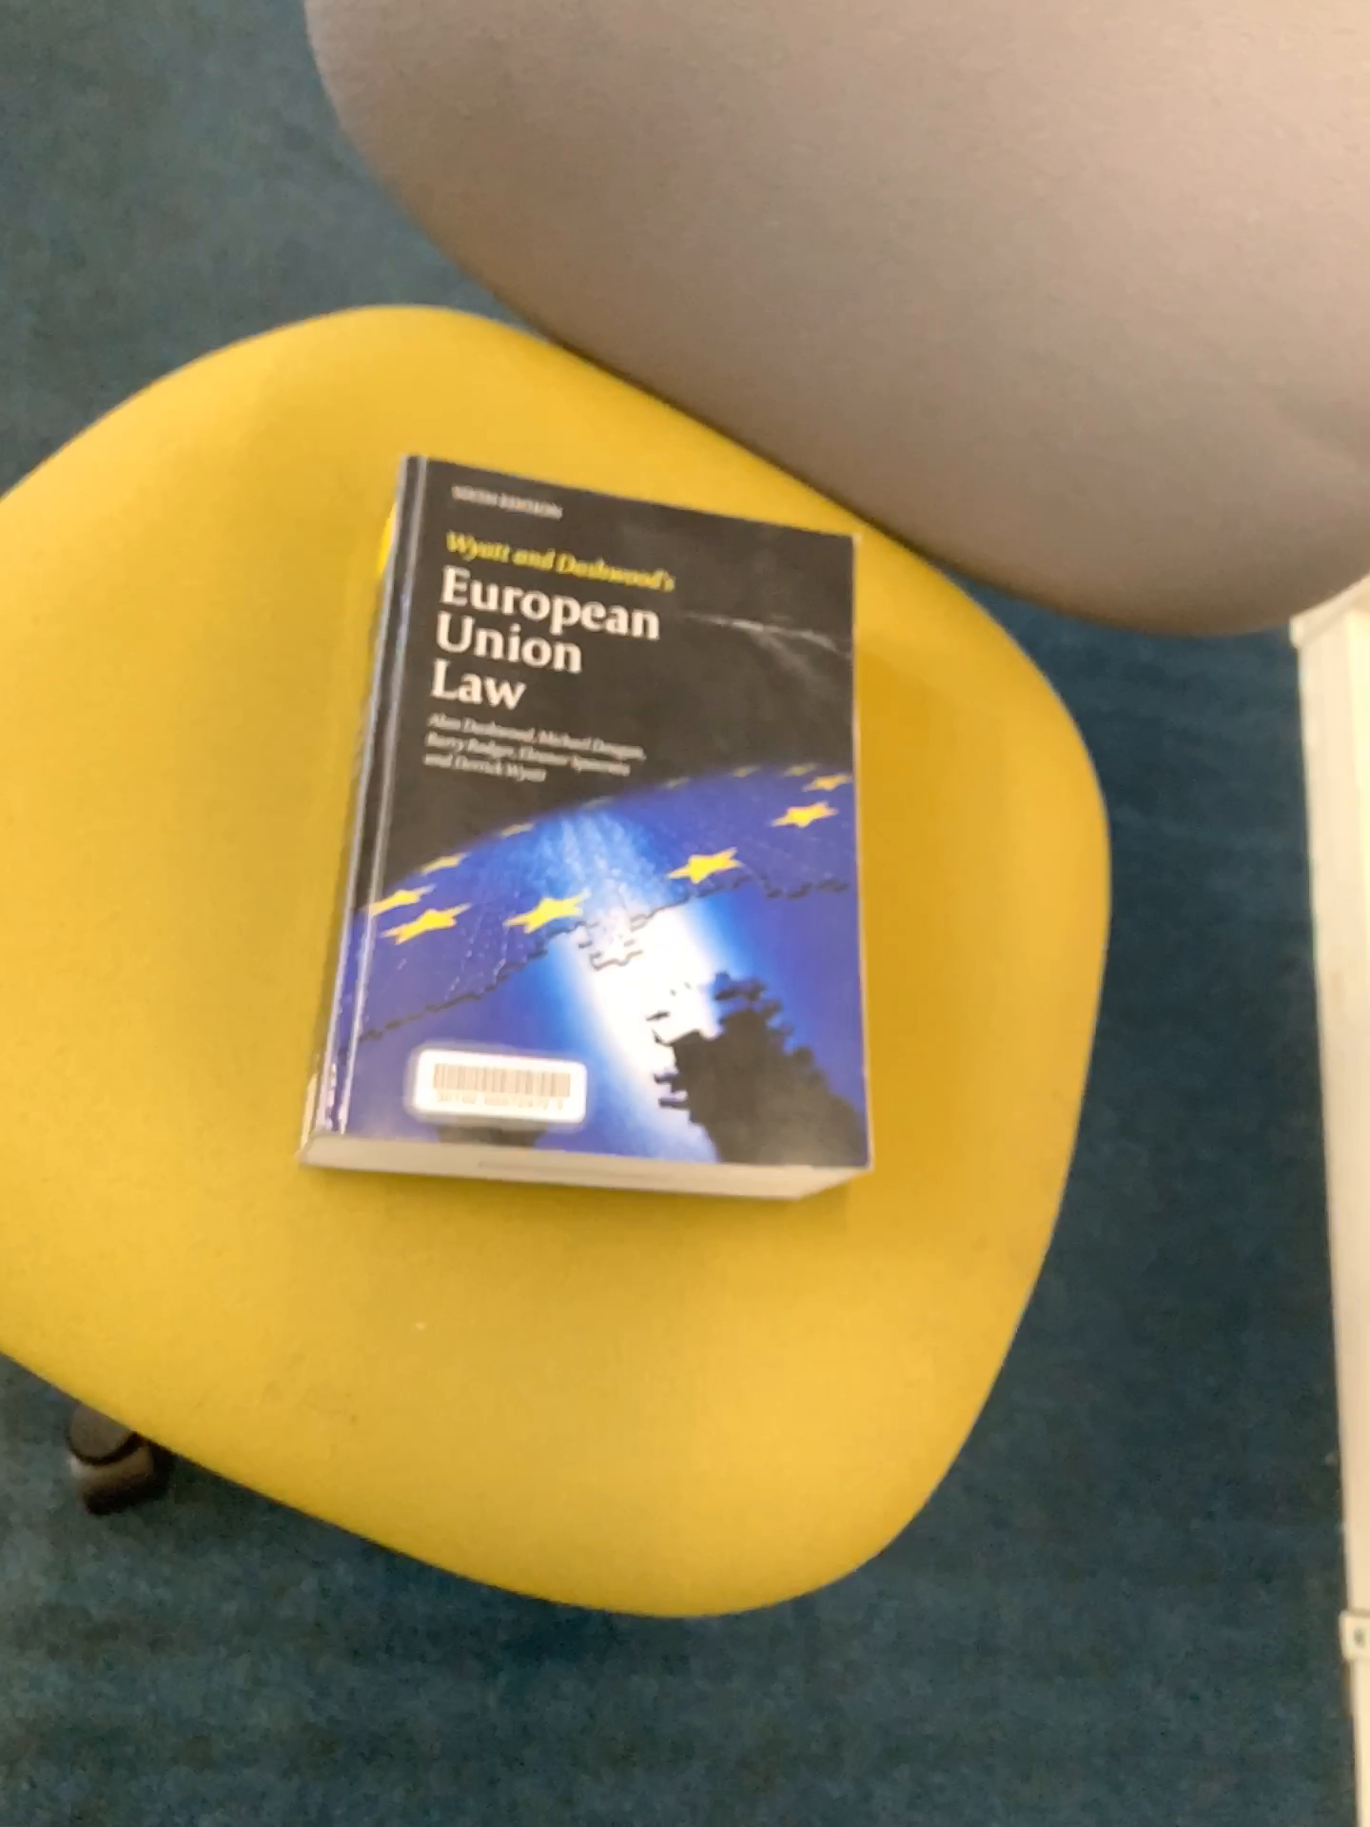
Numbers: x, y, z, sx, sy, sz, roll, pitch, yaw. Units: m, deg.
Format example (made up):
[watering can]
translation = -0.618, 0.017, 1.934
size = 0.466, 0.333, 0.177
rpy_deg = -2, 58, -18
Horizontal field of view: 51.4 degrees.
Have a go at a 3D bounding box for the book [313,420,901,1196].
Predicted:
[book]
translation = -0.023, -0.037, 0.505
size = 0.180, 0.060, 0.251
rpy_deg = 7, 67, -14
